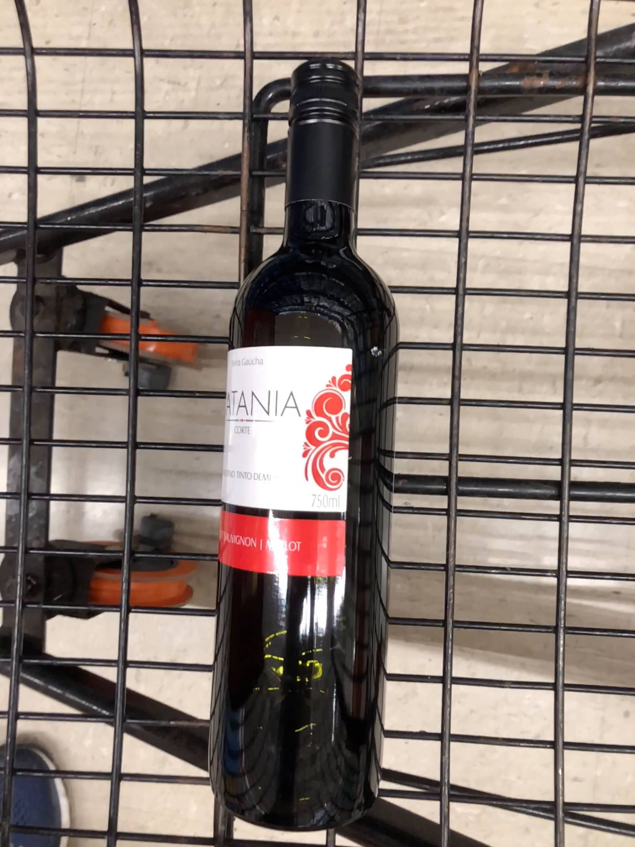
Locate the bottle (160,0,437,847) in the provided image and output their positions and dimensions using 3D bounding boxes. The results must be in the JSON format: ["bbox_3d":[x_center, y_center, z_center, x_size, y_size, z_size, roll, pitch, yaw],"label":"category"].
[{"bbox_3d":[-0.009,-0.006,0.288,0.080,0.070,0.300,1,89,48],"label":"bottle"}]
